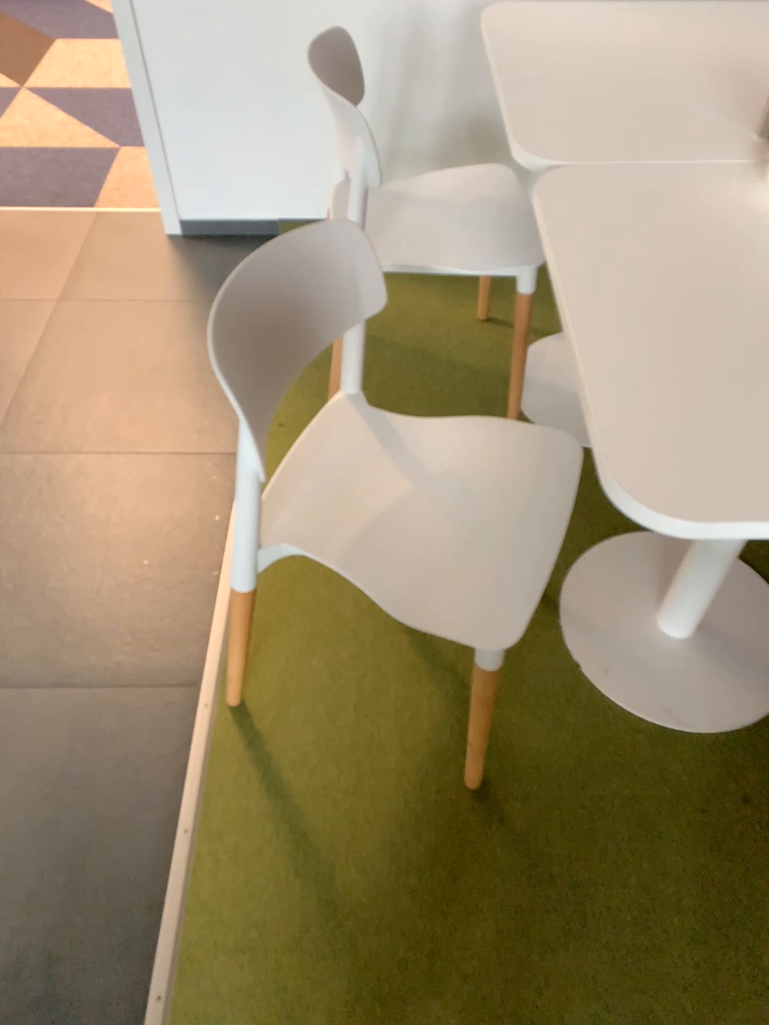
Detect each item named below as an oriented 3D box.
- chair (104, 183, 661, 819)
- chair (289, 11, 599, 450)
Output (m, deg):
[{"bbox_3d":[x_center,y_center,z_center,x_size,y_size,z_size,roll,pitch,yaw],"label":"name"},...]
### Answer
[{"bbox_3d":[0.027,0.012,1.214,0.500,0.747,0.512,19,53,15],"label":"chair"},{"bbox_3d":[0.081,-0.616,1.756,0.510,0.727,0.562,-5,50,-4],"label":"chair"}]
